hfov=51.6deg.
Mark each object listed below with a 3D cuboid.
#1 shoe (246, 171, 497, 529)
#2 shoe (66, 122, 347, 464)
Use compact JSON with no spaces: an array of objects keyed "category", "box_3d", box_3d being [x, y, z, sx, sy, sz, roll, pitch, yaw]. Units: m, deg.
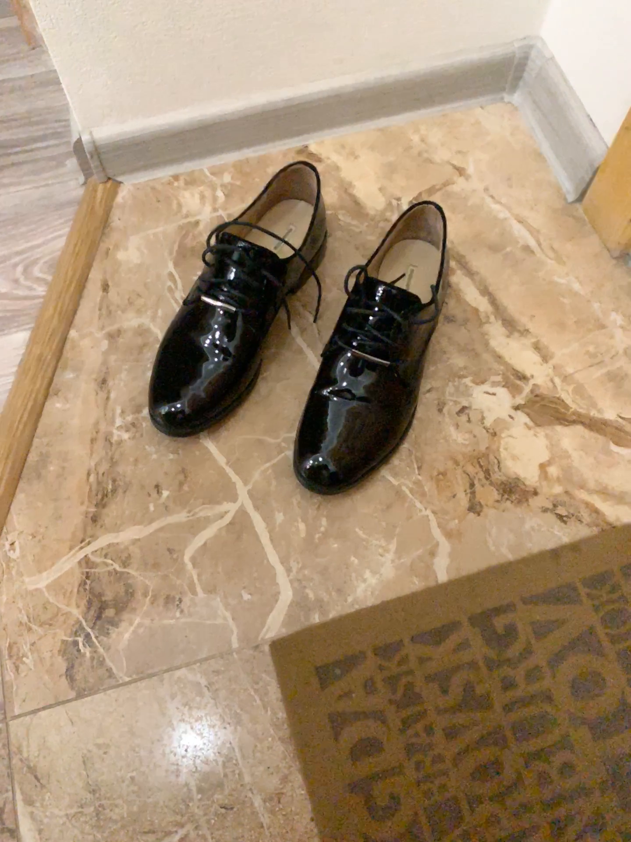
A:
[{"category":"shoe","box_3d":[0.045,-0.054,0.493,0.090,0.110,0.230,22,67,10]},{"category":"shoe","box_3d":[-0.070,-0.100,0.511,0.086,0.110,0.230,27,68,11]}]
